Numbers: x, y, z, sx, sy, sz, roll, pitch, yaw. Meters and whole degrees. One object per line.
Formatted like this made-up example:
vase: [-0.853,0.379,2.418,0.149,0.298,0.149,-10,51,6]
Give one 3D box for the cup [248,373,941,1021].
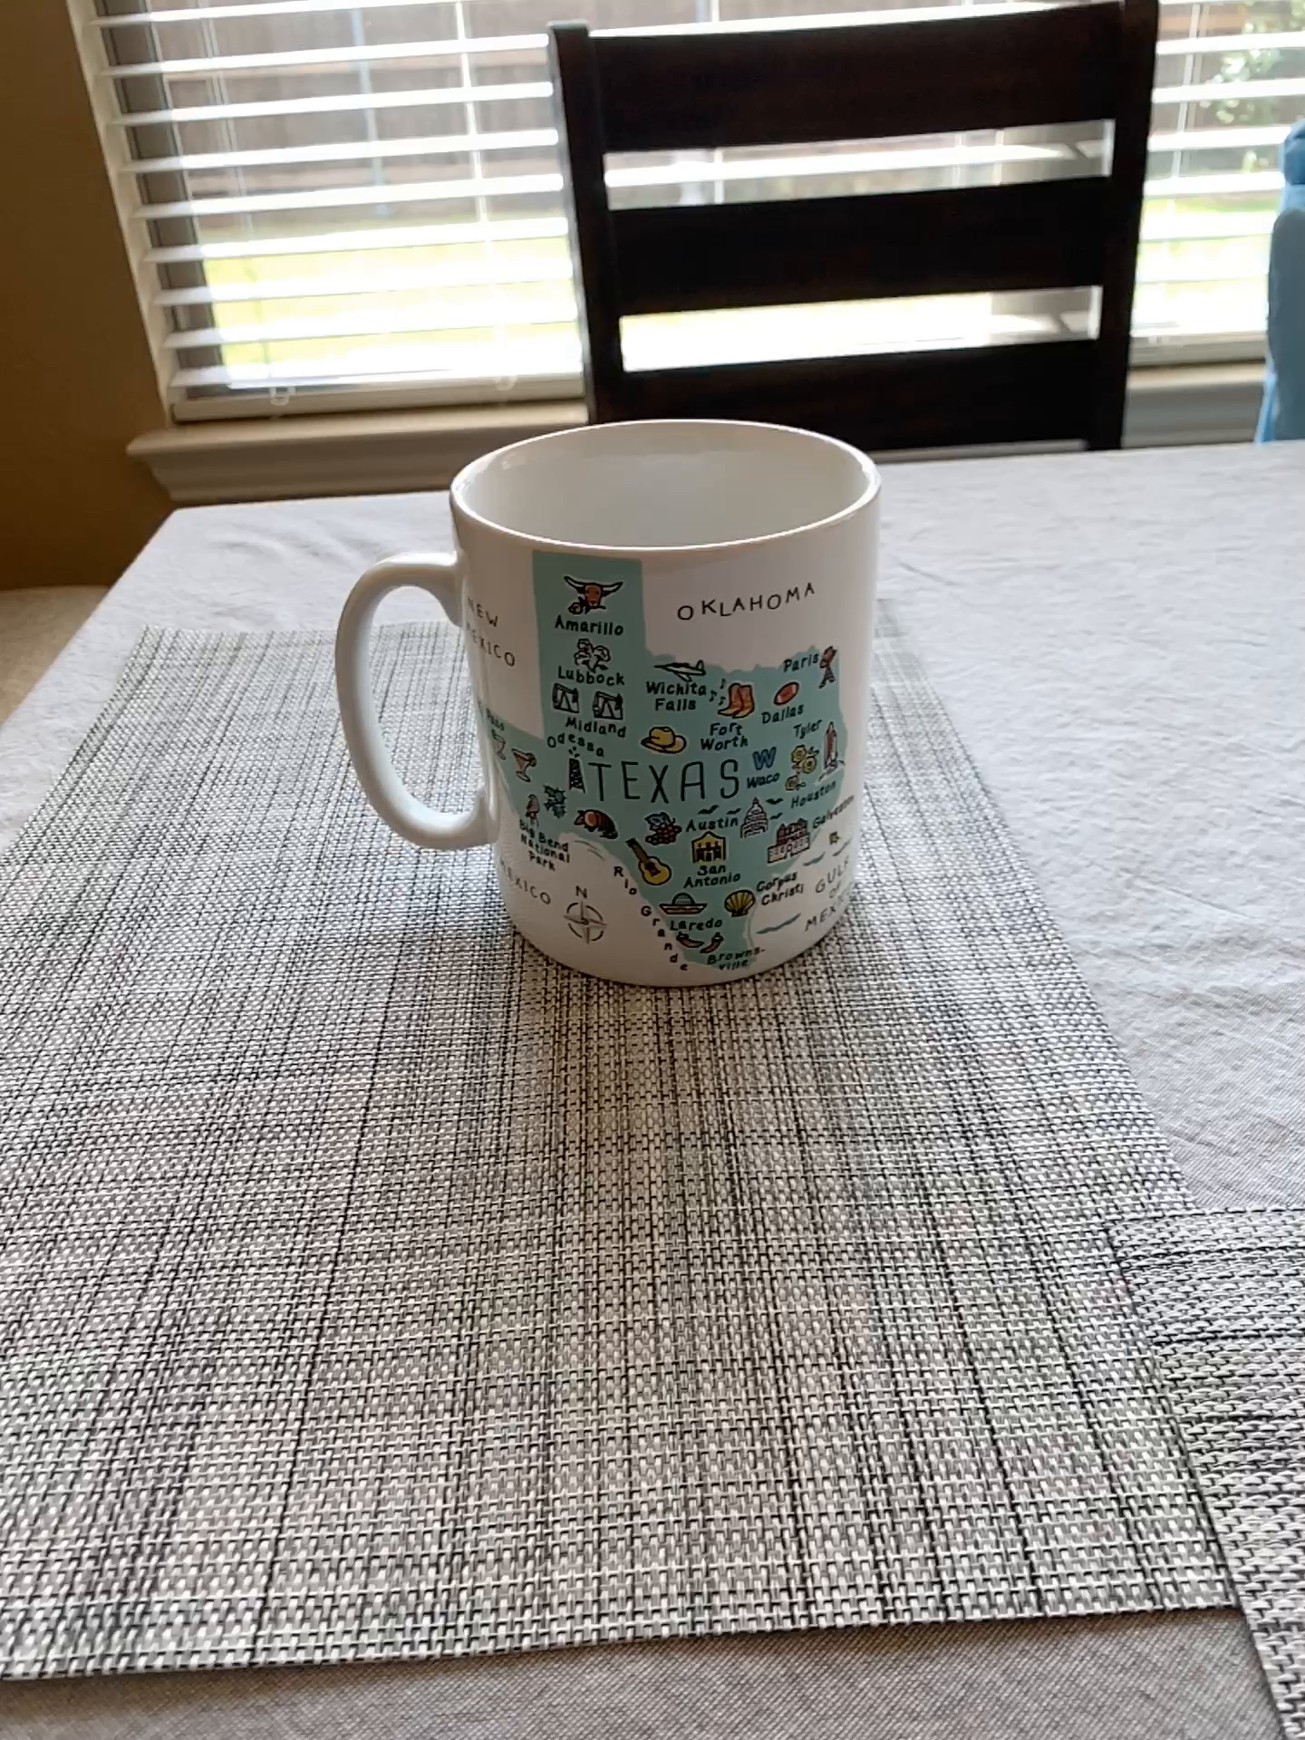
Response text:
cup: [-0.006,-0.056,0.384,0.150,0.136,0.112,7,34,16]
